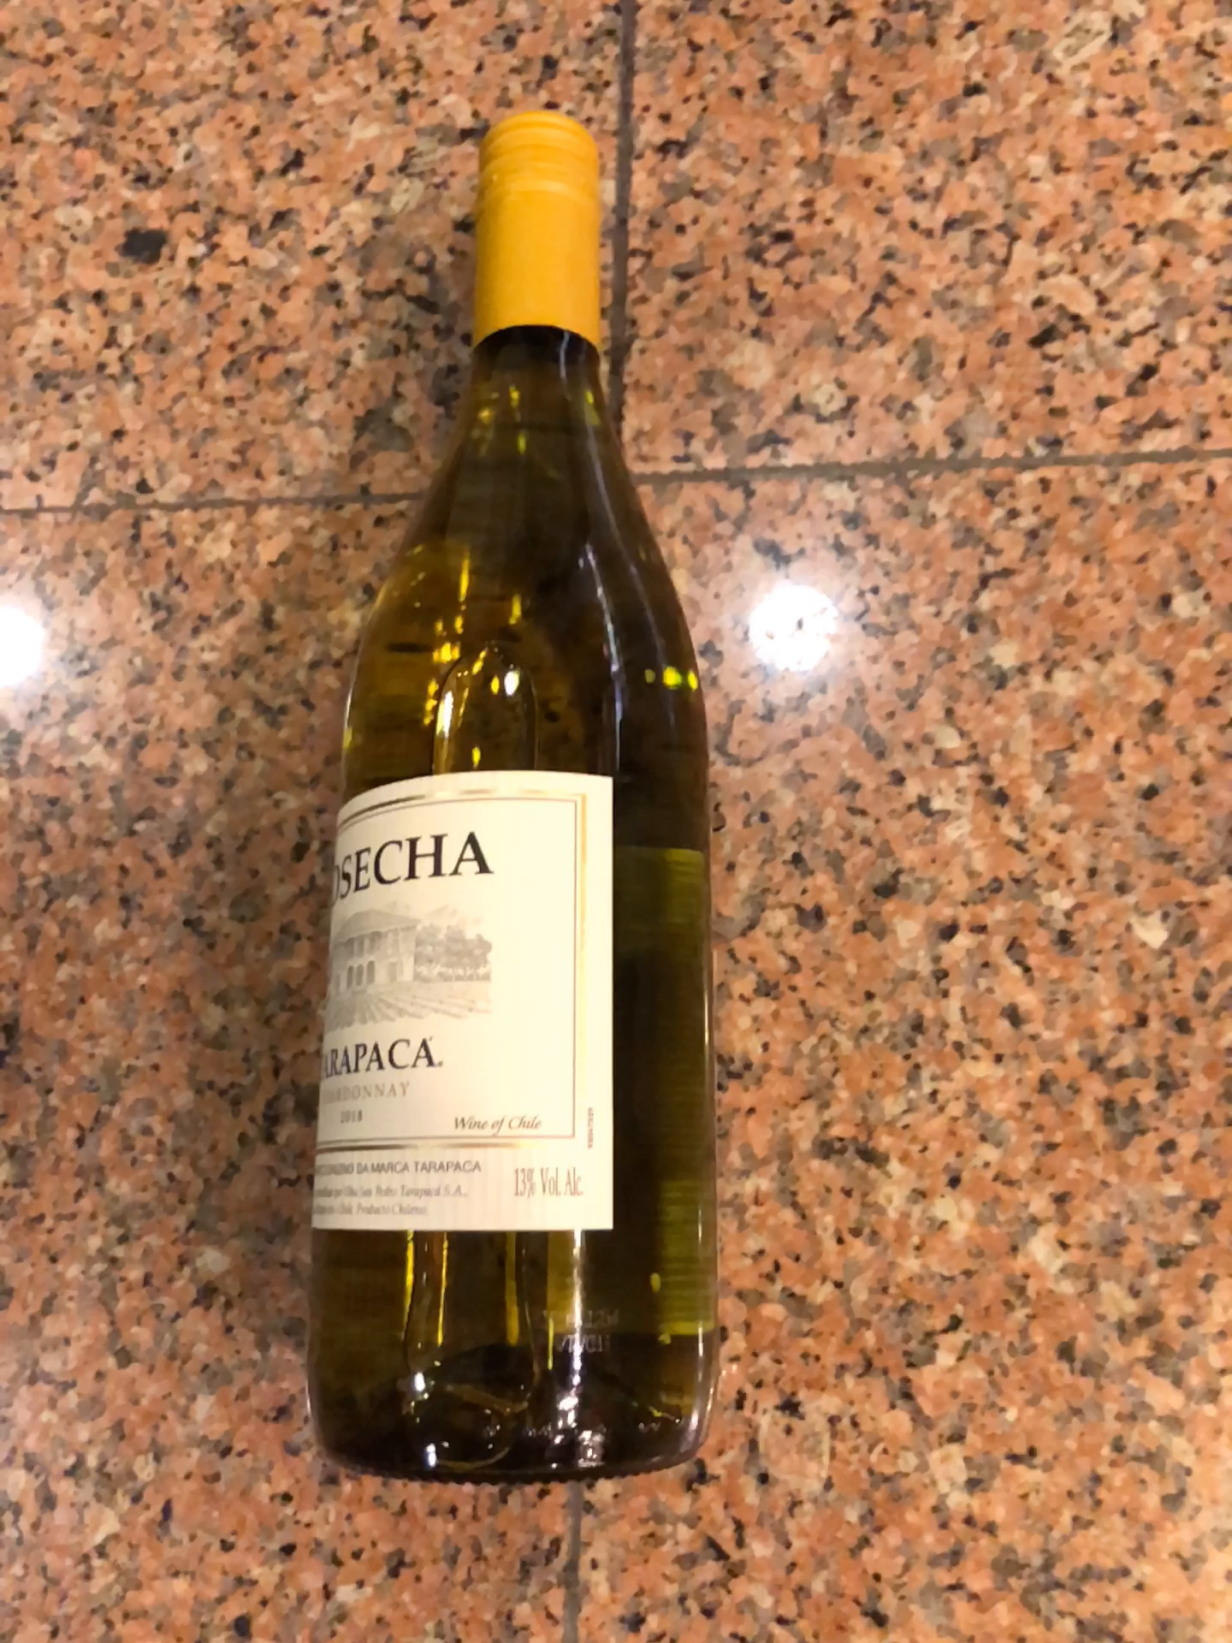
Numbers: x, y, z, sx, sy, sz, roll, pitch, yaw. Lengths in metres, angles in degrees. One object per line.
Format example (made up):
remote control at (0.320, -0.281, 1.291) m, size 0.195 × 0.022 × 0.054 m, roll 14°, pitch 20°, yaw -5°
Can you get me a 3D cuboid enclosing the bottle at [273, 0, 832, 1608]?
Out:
bottle at (-0.007, -0.032, 0.297) m, size 0.090 × 0.070 × 0.341 m, roll -2°, pitch 74°, yaw 8°
